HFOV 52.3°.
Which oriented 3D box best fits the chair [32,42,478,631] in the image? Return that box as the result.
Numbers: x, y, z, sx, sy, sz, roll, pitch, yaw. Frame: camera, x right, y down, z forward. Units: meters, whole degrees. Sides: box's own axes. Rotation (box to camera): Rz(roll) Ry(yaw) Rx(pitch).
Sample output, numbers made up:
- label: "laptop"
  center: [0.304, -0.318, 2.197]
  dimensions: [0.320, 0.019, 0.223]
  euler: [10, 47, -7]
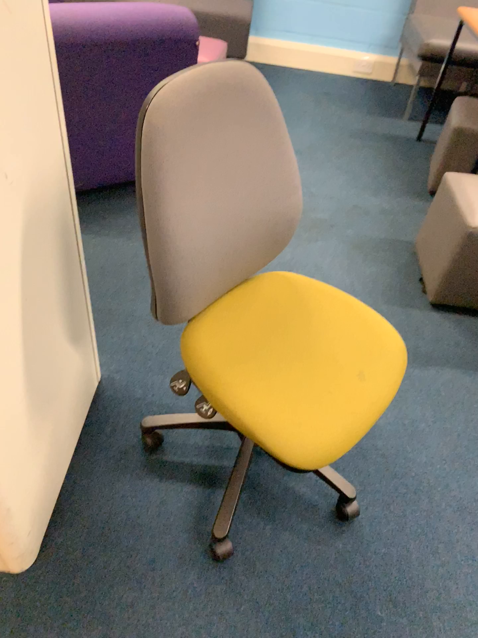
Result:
- label: "chair"
  center: [0.110, 0.034, 1.081]
  dimensions: [0.662, 0.921, 0.644]
  euler: [32, 48, 22]
